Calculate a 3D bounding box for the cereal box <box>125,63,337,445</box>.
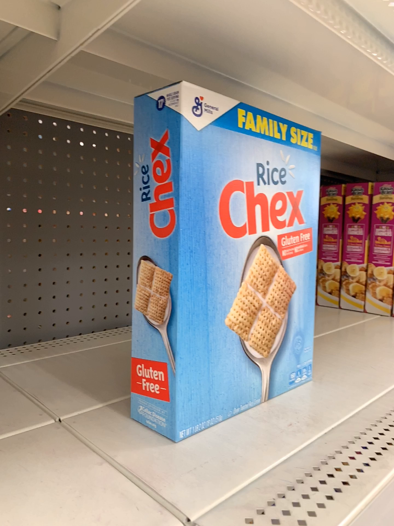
[{"bbox_3d":[0.050,-0.010,0.454,0.250,0.320,0.080,-3,6,-44],"label":"cereal box"}]
